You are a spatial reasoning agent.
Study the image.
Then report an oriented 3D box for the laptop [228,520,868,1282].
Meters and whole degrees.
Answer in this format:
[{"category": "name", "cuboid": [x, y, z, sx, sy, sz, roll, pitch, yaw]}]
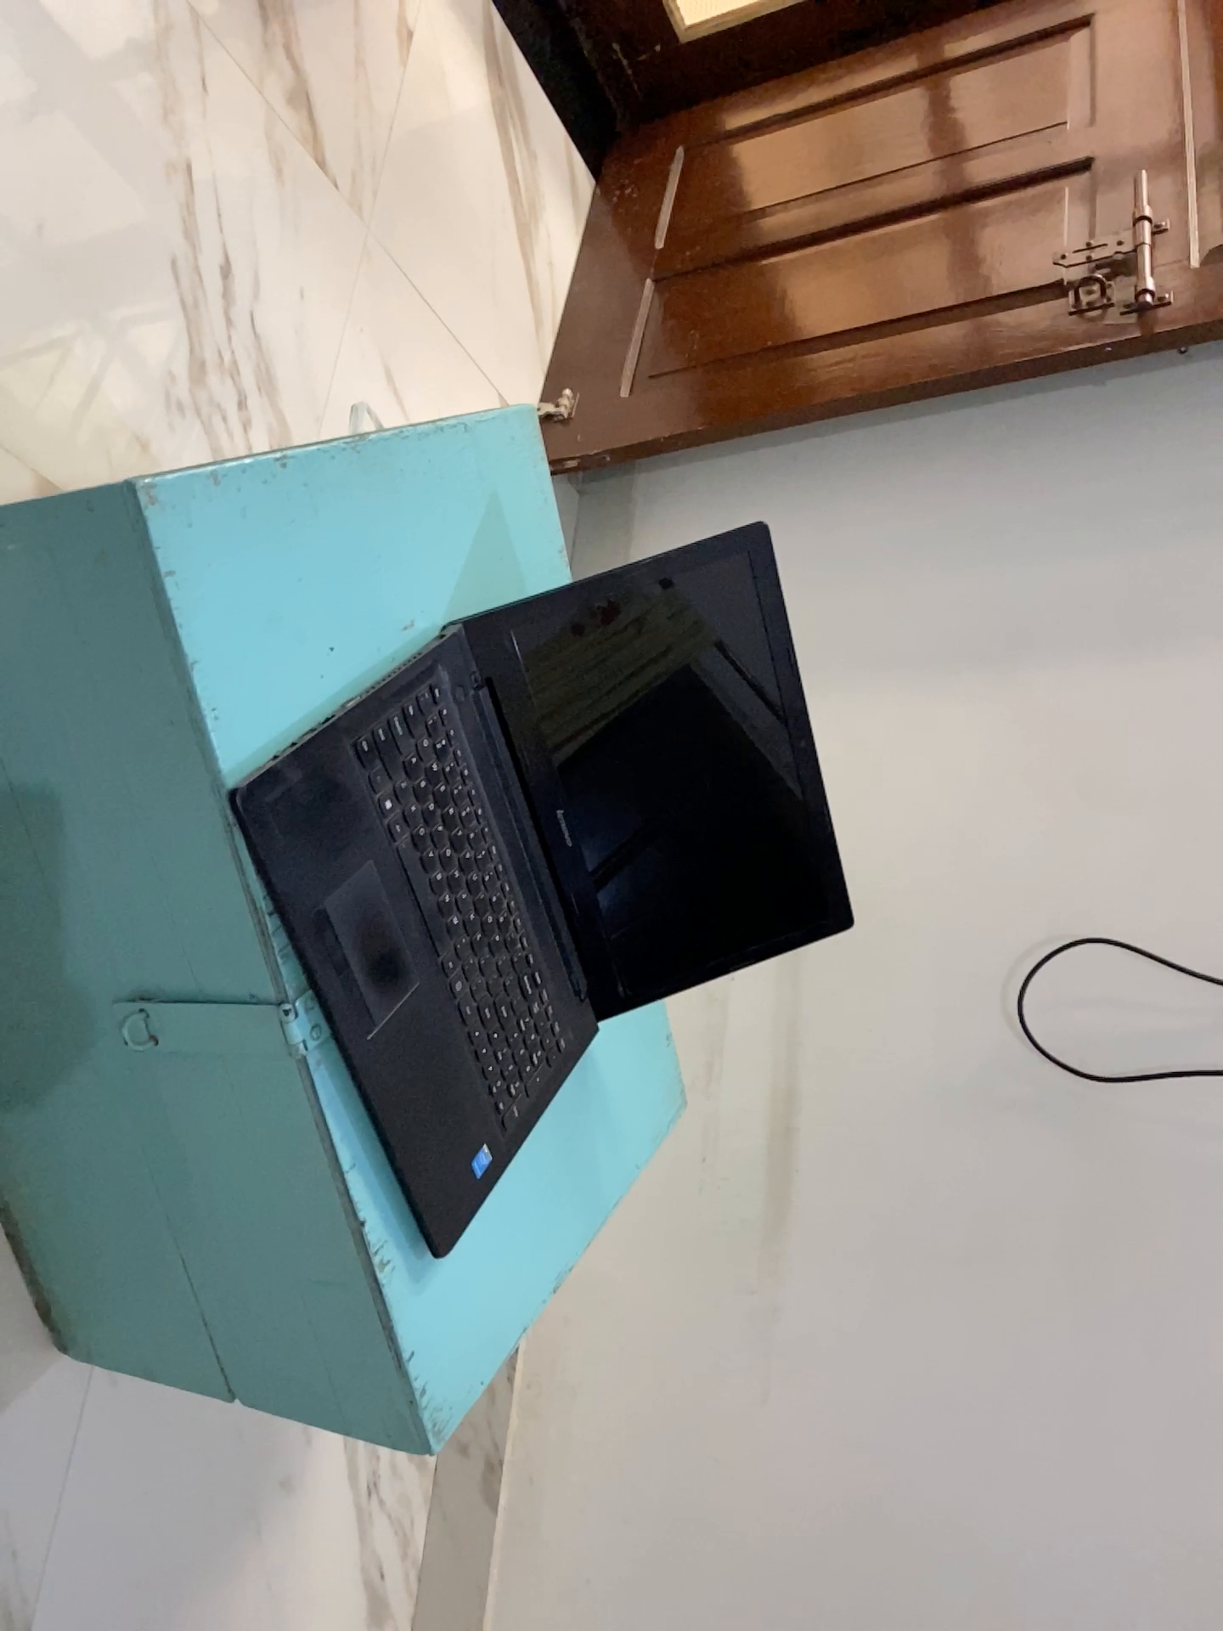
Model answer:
[{"category": "laptop", "cuboid": [0.004, 0.040, 0.921, 0.425, 0.190, 0.371, -49, 130, -50]}]
